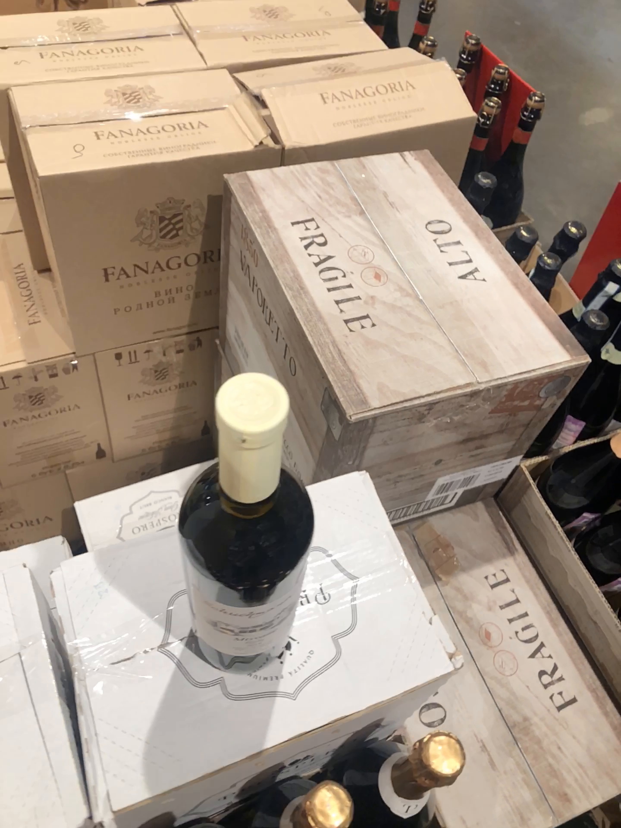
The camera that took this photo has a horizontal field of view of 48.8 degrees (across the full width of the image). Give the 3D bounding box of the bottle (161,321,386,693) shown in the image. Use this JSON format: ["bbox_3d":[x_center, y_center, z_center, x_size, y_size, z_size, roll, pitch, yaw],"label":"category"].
[{"bbox_3d":[-0.034,0.076,0.387,0.080,0.288,0.073,4,53,-5],"label":"bottle"}]
